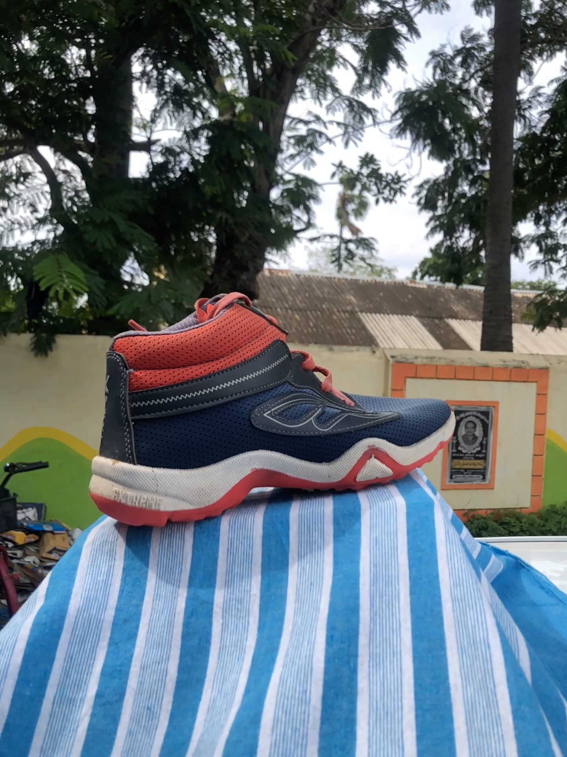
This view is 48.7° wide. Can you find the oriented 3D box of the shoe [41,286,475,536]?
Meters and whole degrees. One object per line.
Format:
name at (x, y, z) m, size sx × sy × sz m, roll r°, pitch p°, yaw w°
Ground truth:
shoe at (-0.006, 0.014, 0.416) m, size 0.271 × 0.120 × 0.100 m, roll 1°, pitch 3°, yaw -33°
